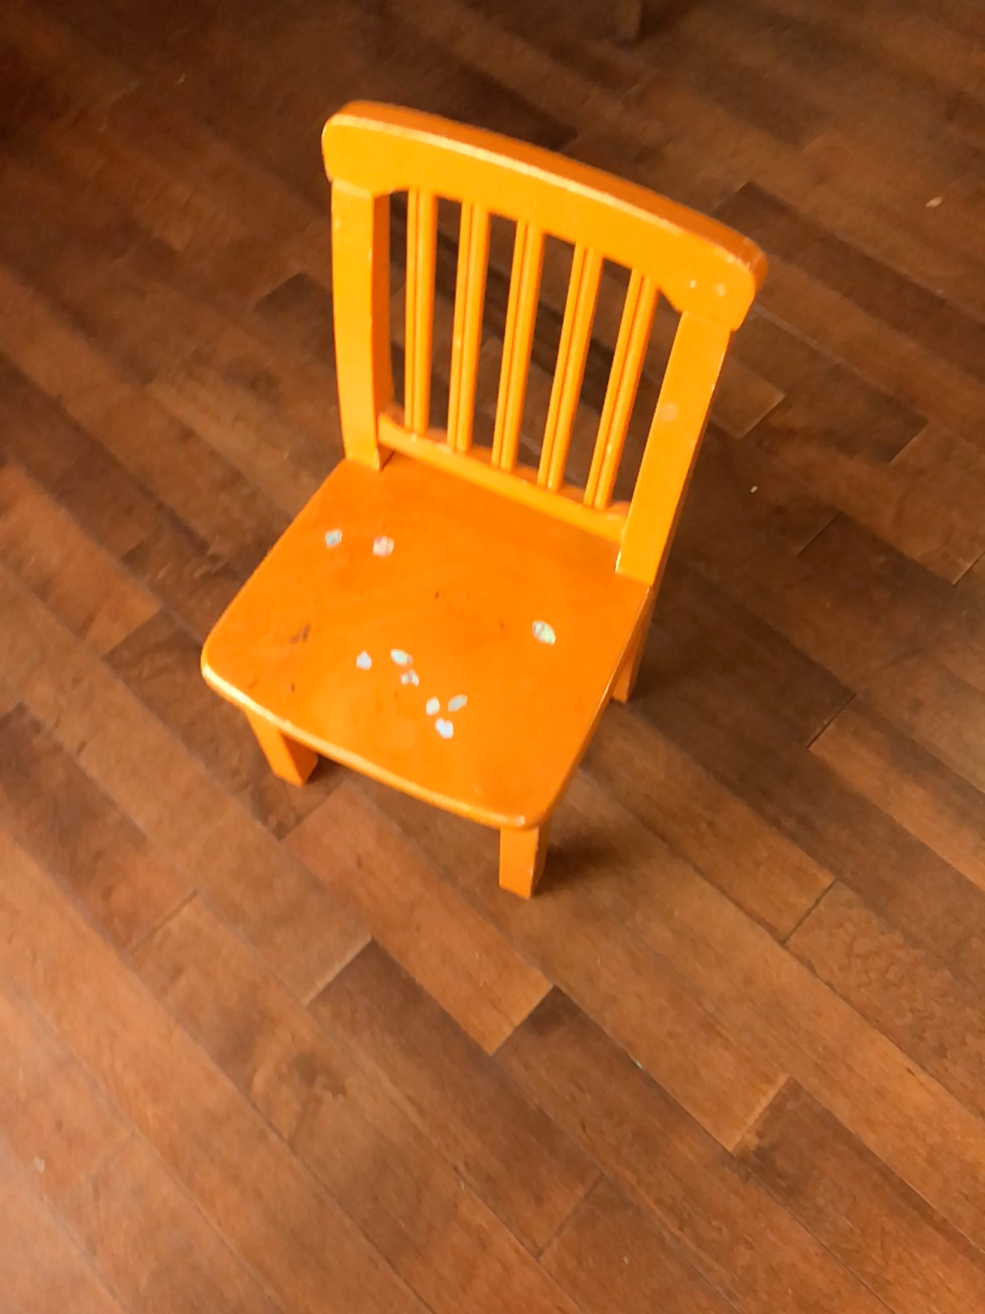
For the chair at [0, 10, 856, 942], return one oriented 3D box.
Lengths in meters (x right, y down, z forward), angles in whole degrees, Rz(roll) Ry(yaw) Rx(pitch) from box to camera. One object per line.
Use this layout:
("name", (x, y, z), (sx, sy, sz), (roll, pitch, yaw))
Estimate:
("chair", (-0.028, -0.079, 0.848), (0.360, 0.569, 0.350), (25, 66, 13))
